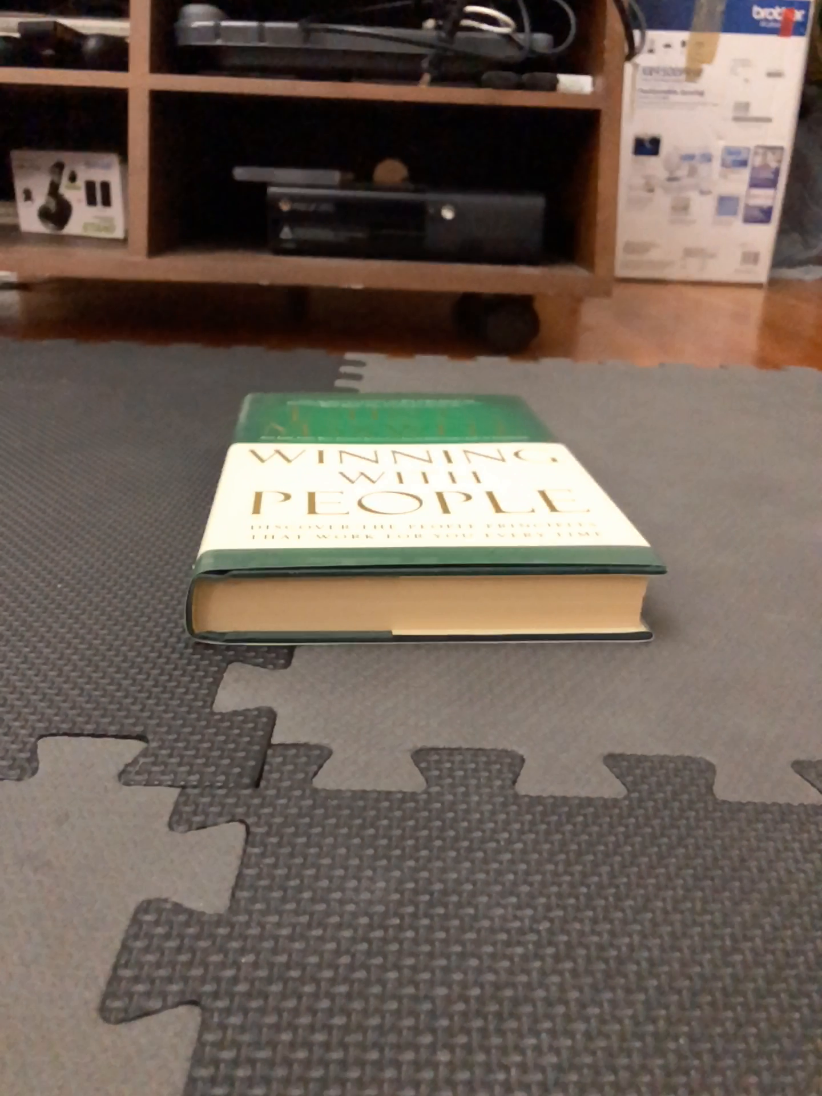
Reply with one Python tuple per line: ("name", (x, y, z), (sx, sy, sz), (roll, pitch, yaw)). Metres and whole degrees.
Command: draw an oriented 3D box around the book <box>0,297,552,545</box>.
("book", (-0.069, -0.070, 0.388), (0.200, 0.030, 0.291), (0, 22, -4))
